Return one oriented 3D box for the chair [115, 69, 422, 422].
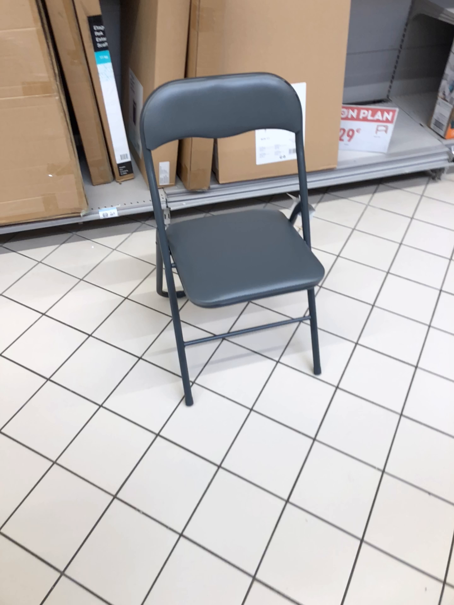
[{"bbox_3d":[0.049,-0.150,1.383,0.551,0.756,0.502,-12,47,-15],"label":"chair"}]
